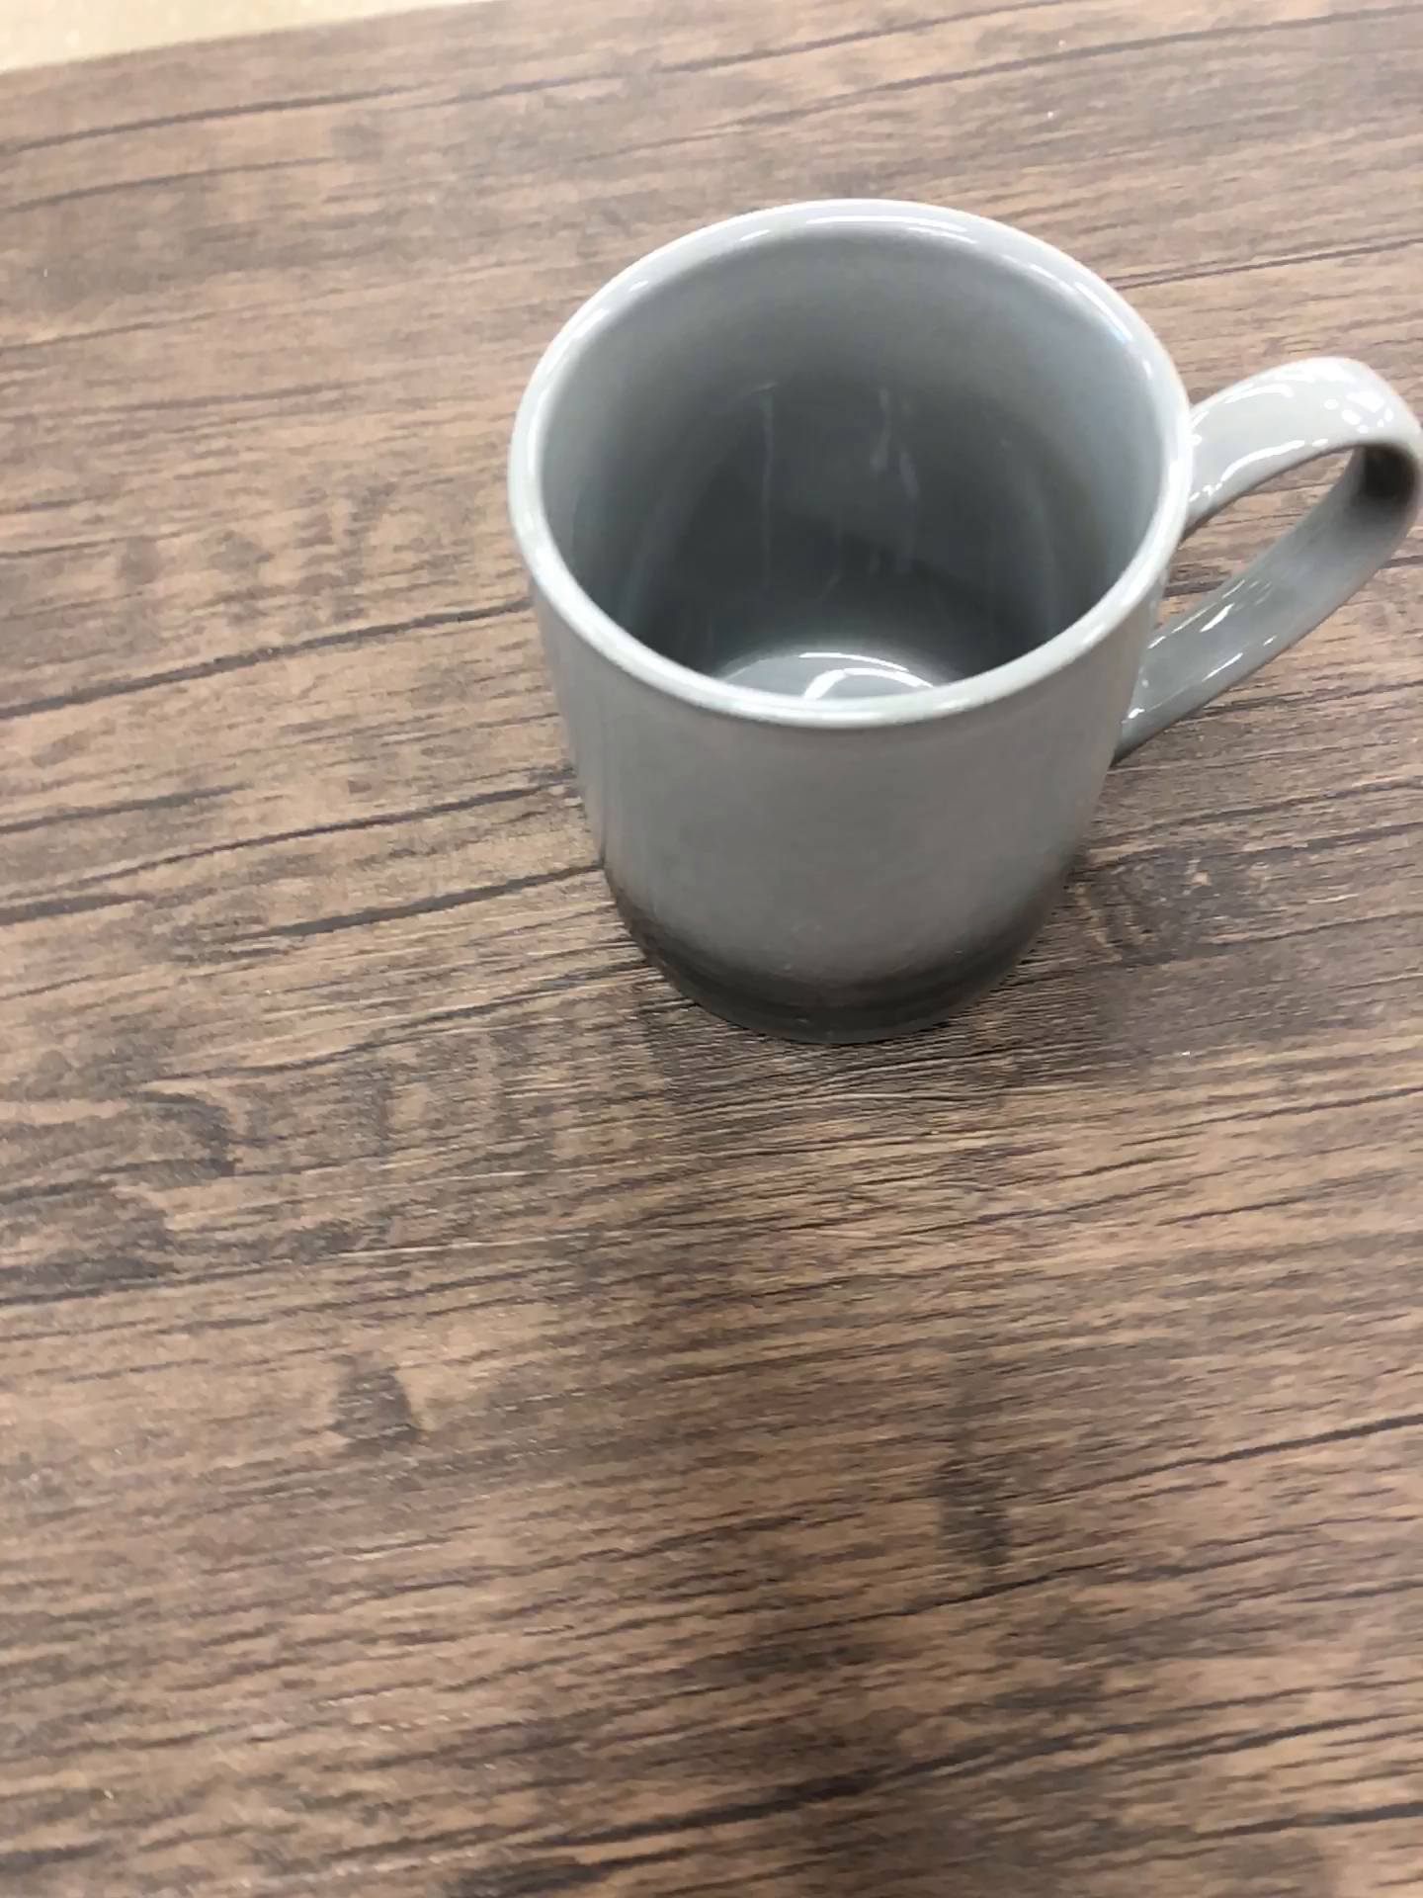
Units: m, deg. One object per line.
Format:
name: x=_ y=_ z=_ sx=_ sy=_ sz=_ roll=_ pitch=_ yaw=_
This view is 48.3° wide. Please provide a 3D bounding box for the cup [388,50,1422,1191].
cup: x=0.036 y=-0.043 z=0.242 sx=0.130 sy=0.110 sz=0.090 roll=-18 pitch=63 yaw=-6
